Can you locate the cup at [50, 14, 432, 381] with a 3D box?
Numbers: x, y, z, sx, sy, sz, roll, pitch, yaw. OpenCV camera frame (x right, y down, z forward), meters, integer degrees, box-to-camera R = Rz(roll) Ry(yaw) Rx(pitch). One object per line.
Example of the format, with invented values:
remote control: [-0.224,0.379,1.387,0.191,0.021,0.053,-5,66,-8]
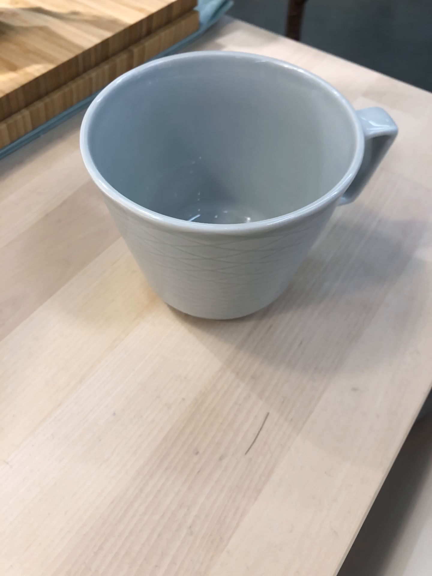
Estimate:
cup: [0.015,-0.045,0.216,0.140,0.080,0.111,-15,56,-12]
